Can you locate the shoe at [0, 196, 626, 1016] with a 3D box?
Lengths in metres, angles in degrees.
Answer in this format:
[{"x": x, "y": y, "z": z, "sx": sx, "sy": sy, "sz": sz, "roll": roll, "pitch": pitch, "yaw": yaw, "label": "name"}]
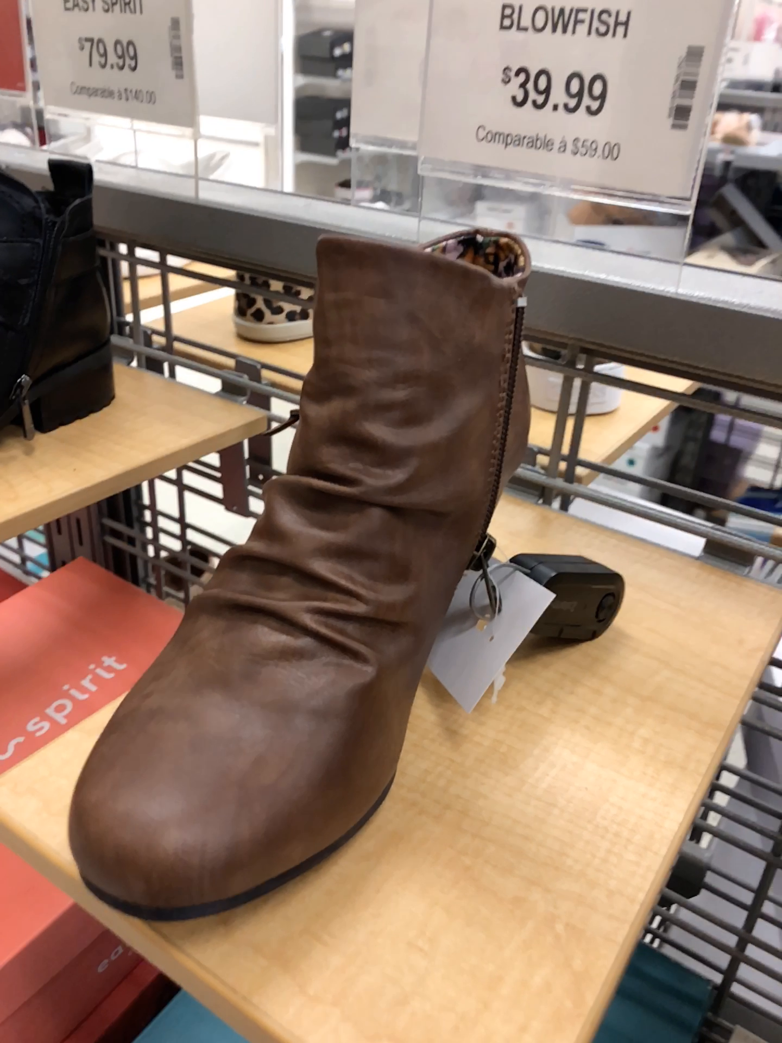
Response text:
[{"x": -0.015, "y": -0.009, "z": 0.269, "sx": 0.090, "sy": 0.139, "sz": 0.231, "roll": 18, "pitch": 32, "yaw": 23, "label": "shoe"}]
